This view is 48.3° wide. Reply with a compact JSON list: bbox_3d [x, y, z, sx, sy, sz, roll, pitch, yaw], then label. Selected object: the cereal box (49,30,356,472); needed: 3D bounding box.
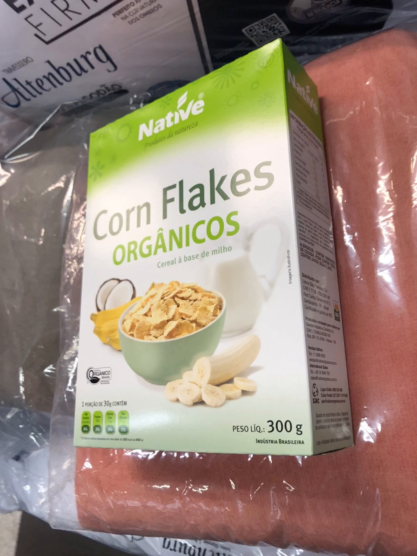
[{"bbox_3d":[-0.014,-0.008,0.310,0.180,0.060,0.240,-11,71,31],"label":"cereal box"}]
